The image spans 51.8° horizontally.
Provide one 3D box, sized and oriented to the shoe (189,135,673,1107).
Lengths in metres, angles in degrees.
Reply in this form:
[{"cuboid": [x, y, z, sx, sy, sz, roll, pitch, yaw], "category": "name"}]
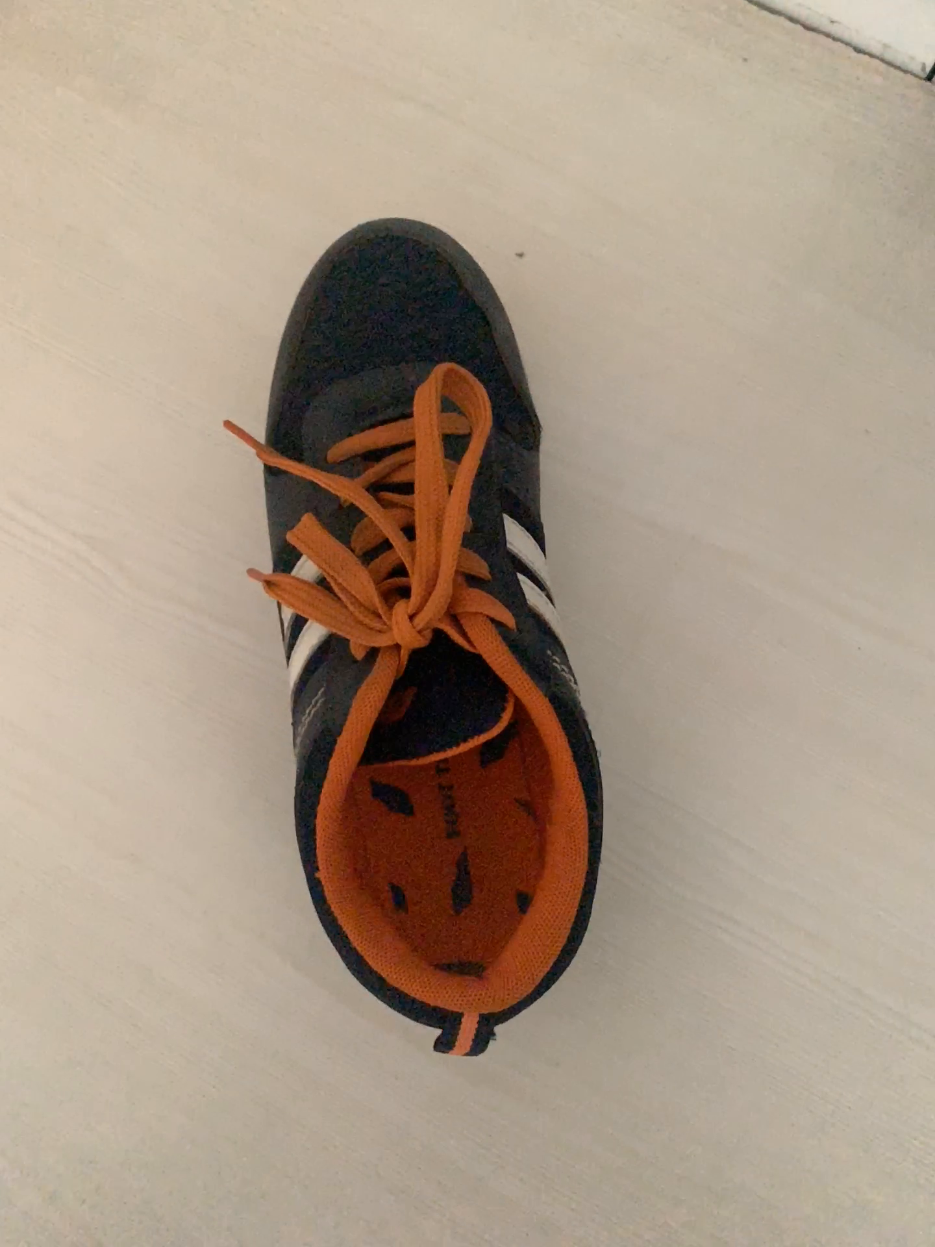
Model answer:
[{"cuboid": [-0.014, -0.005, 0.293, 0.100, 0.080, 0.250, -7, 80, 1], "category": "shoe"}]
